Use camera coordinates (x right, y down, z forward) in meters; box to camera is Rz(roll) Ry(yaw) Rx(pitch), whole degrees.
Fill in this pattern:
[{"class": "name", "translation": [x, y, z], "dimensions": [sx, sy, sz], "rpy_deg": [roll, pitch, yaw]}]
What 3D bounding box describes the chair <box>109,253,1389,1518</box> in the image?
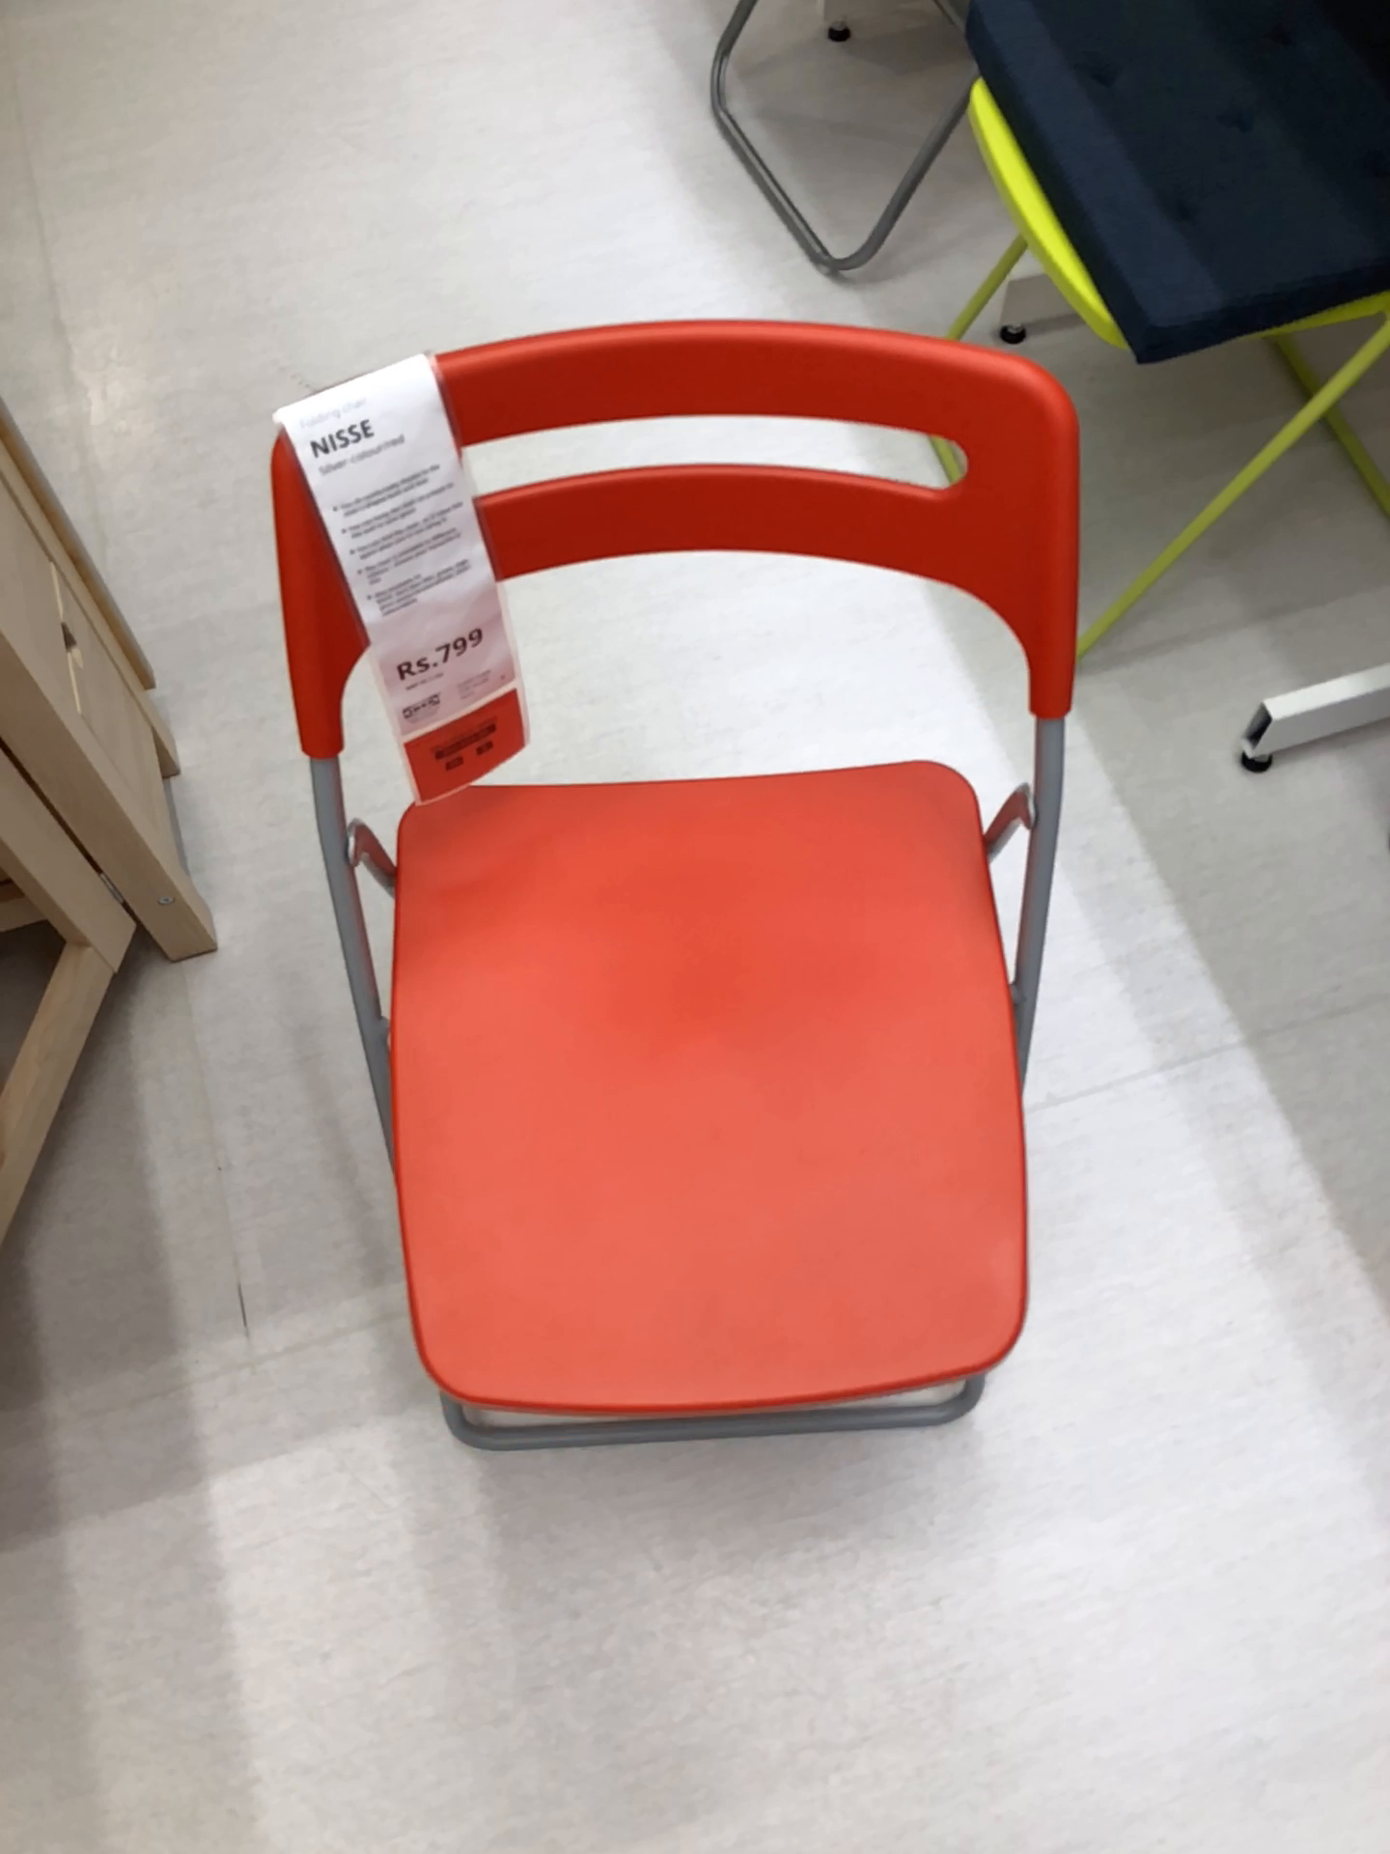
[{"class": "chair", "translation": [0.013, 0.041, 0.896], "dimensions": [0.450, 0.608, 0.492], "rpy_deg": [-4, 64, -1]}]
